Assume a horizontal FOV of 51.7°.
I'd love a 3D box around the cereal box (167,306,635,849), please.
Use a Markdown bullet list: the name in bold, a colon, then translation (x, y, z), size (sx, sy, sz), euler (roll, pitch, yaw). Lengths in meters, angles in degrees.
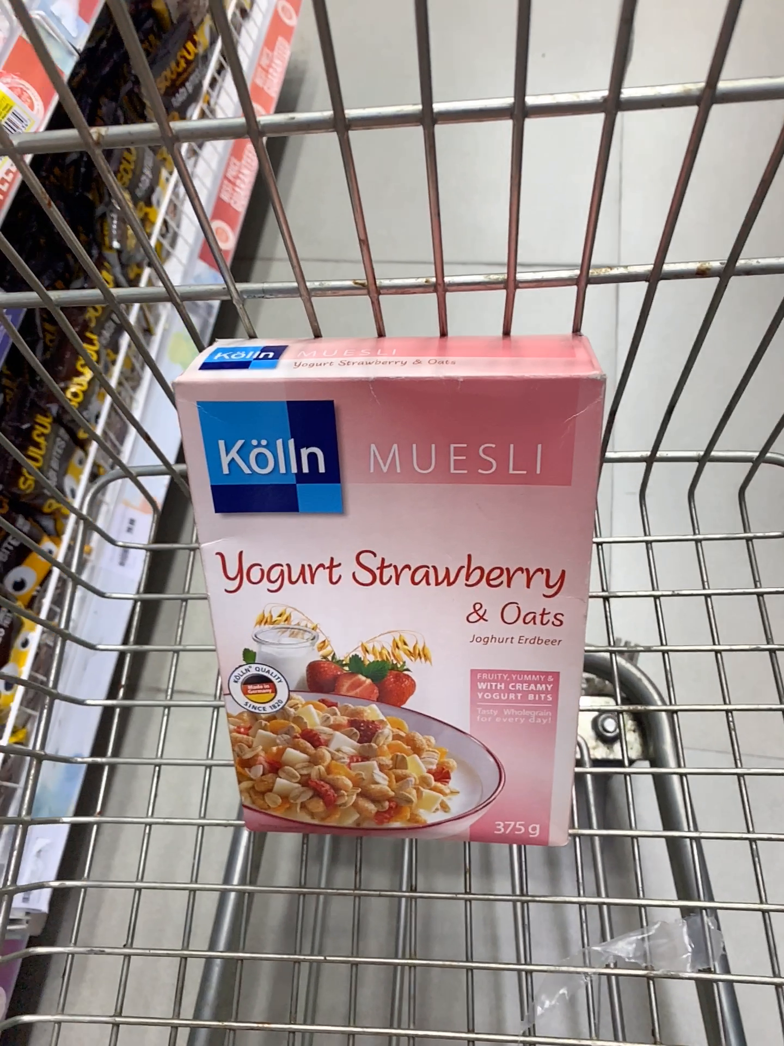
- **cereal box**: translation (0.008, 0.030, 0.329), size (0.150, 0.220, 0.050), euler (0, 26, 6)
